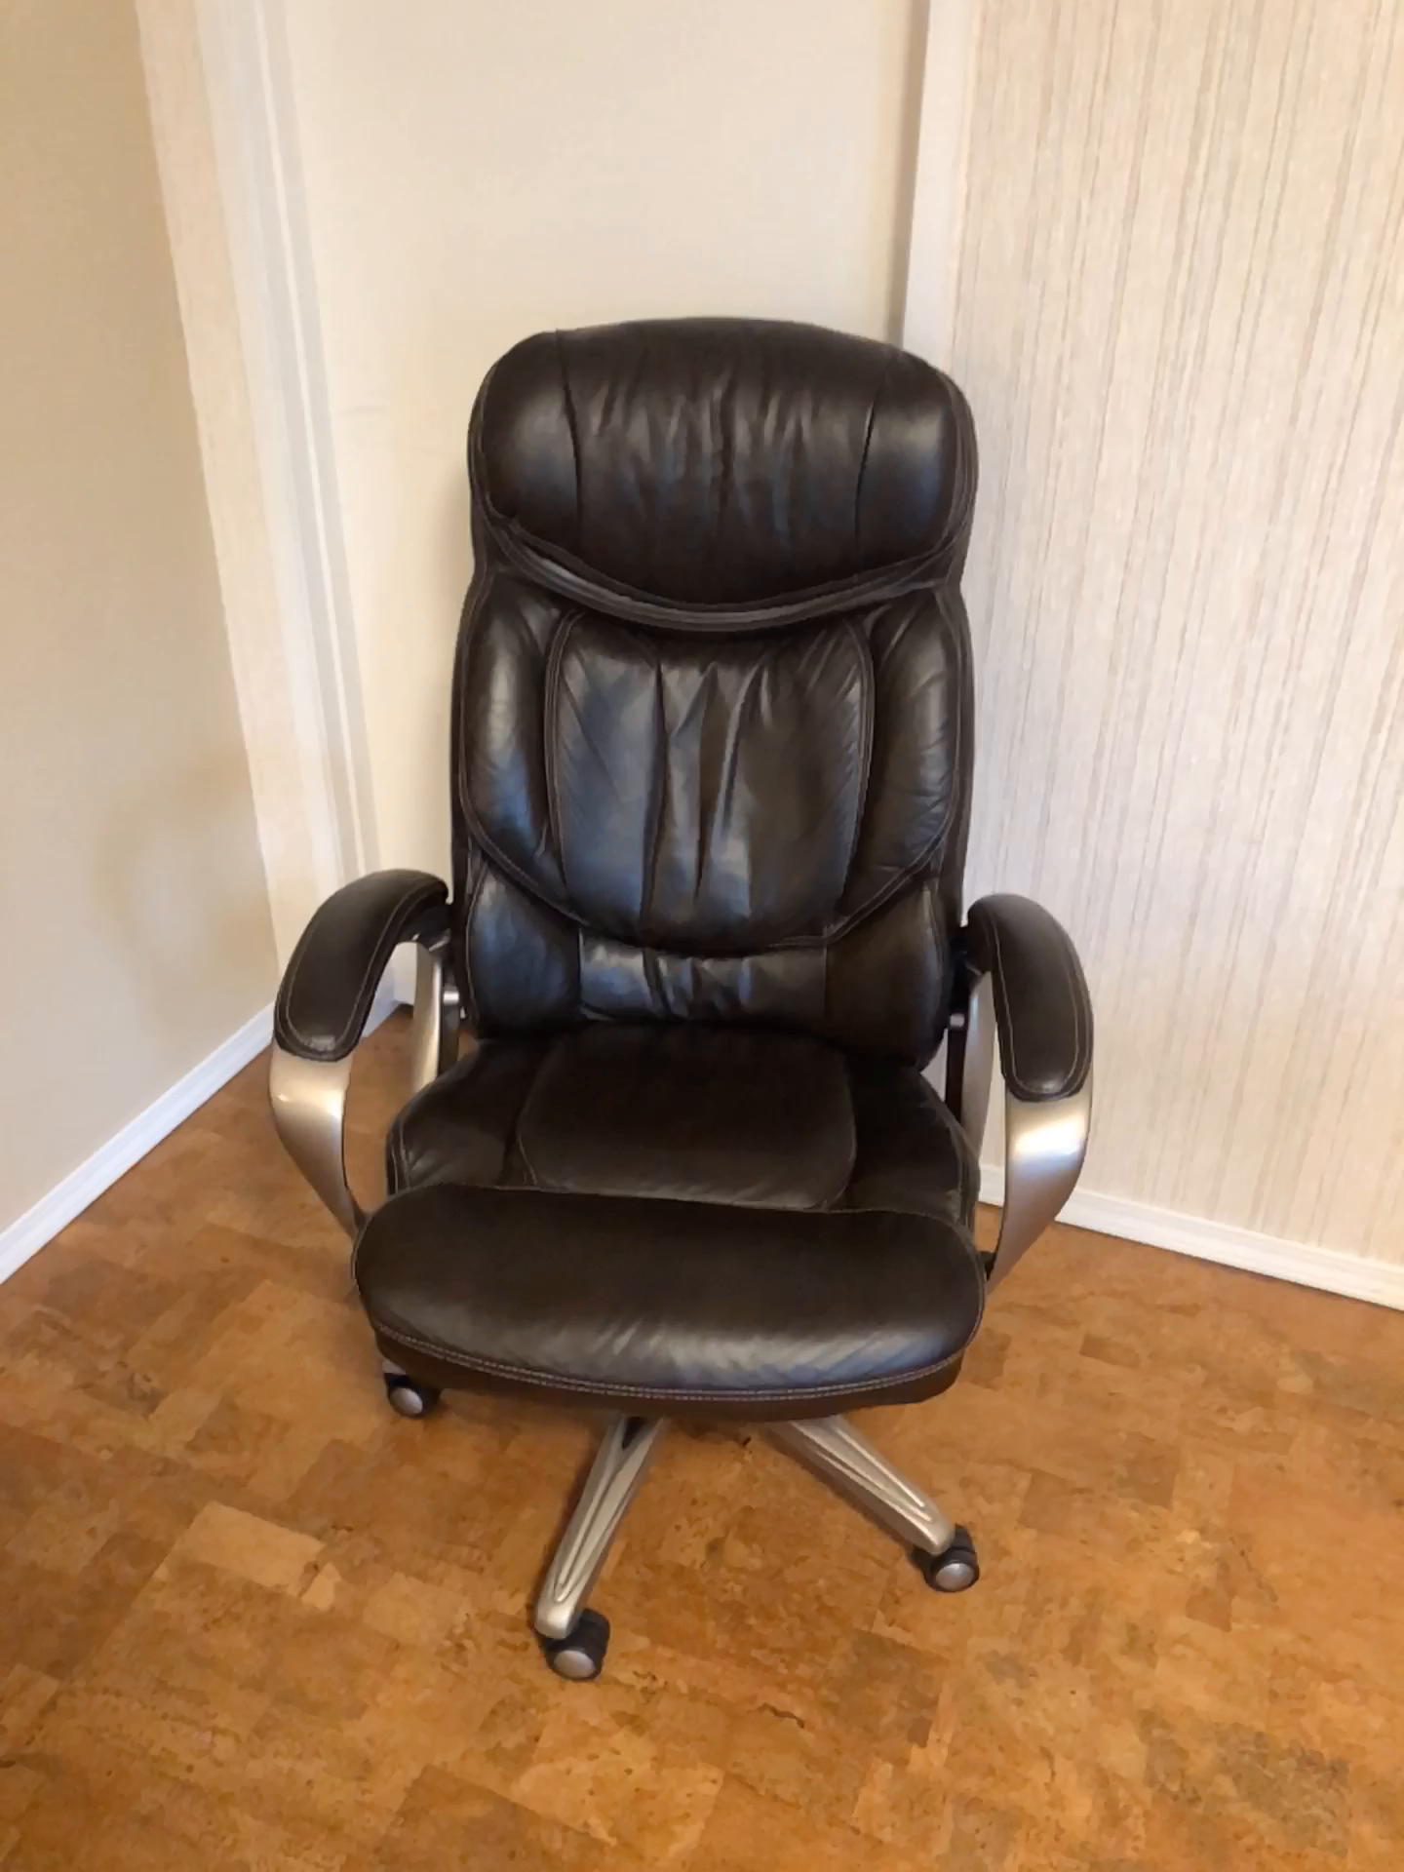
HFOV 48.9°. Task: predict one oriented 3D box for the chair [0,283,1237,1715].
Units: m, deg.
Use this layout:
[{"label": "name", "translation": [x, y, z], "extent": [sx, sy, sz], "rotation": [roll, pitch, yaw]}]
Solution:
[{"label": "chair", "translation": [-0.058, 0.053, 1.383], "extent": [0.690, 1.086, 0.652], "rotation": [1, 31, 1]}]
